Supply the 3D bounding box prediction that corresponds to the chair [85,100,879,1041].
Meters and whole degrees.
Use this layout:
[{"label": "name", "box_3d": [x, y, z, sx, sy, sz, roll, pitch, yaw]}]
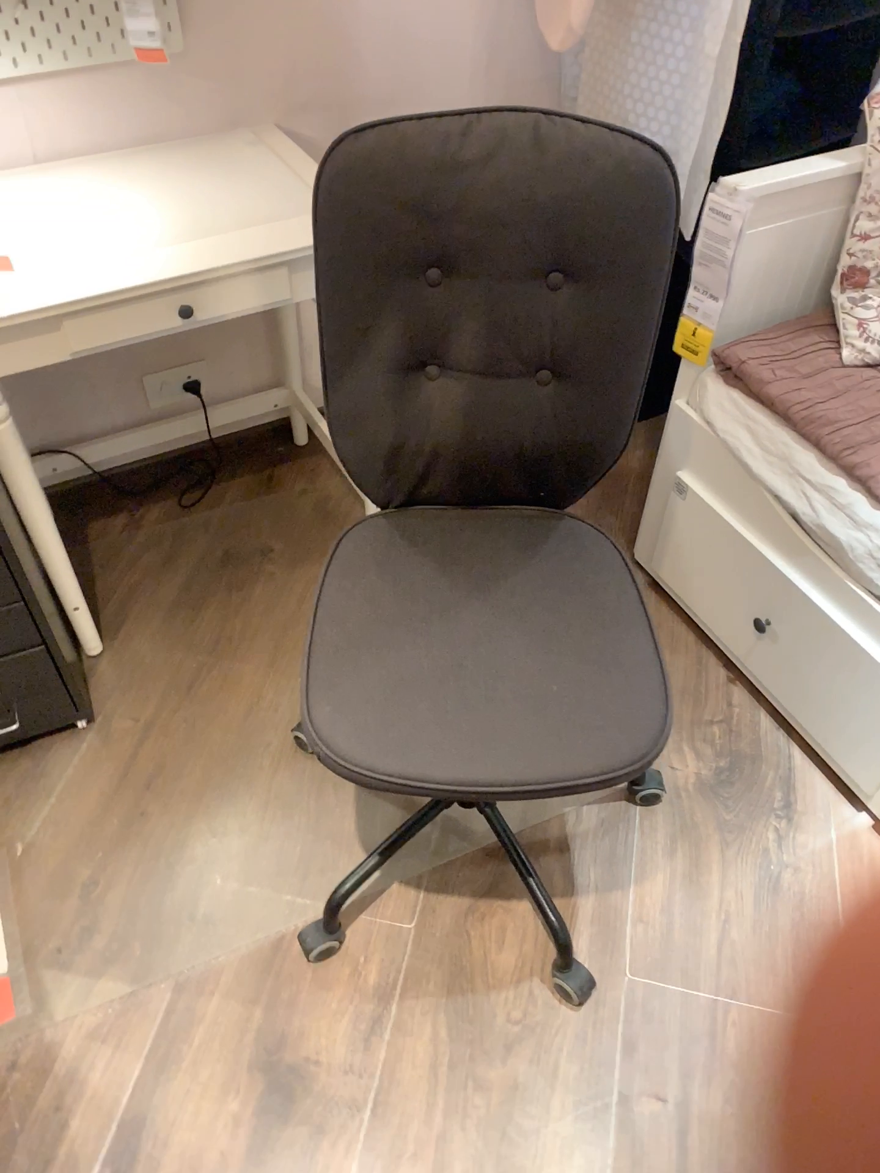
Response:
[{"label": "chair", "box_3d": [0.074, 0.022, 1.152, 0.650, 0.947, 0.732, -3, 47, -4]}]
